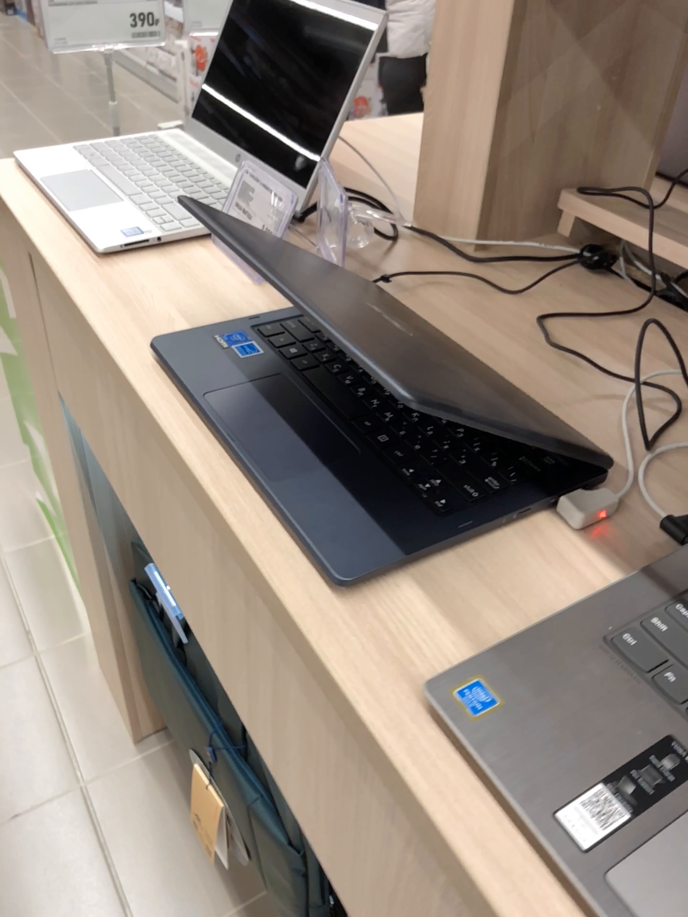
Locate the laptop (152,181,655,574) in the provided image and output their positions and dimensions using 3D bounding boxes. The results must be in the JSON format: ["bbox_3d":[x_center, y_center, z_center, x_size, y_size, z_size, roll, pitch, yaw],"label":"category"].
[{"bbox_3d":[0.017,-0.078,0.494,0.185,0.096,0.273,-18,43,-25],"label":"laptop"}]
